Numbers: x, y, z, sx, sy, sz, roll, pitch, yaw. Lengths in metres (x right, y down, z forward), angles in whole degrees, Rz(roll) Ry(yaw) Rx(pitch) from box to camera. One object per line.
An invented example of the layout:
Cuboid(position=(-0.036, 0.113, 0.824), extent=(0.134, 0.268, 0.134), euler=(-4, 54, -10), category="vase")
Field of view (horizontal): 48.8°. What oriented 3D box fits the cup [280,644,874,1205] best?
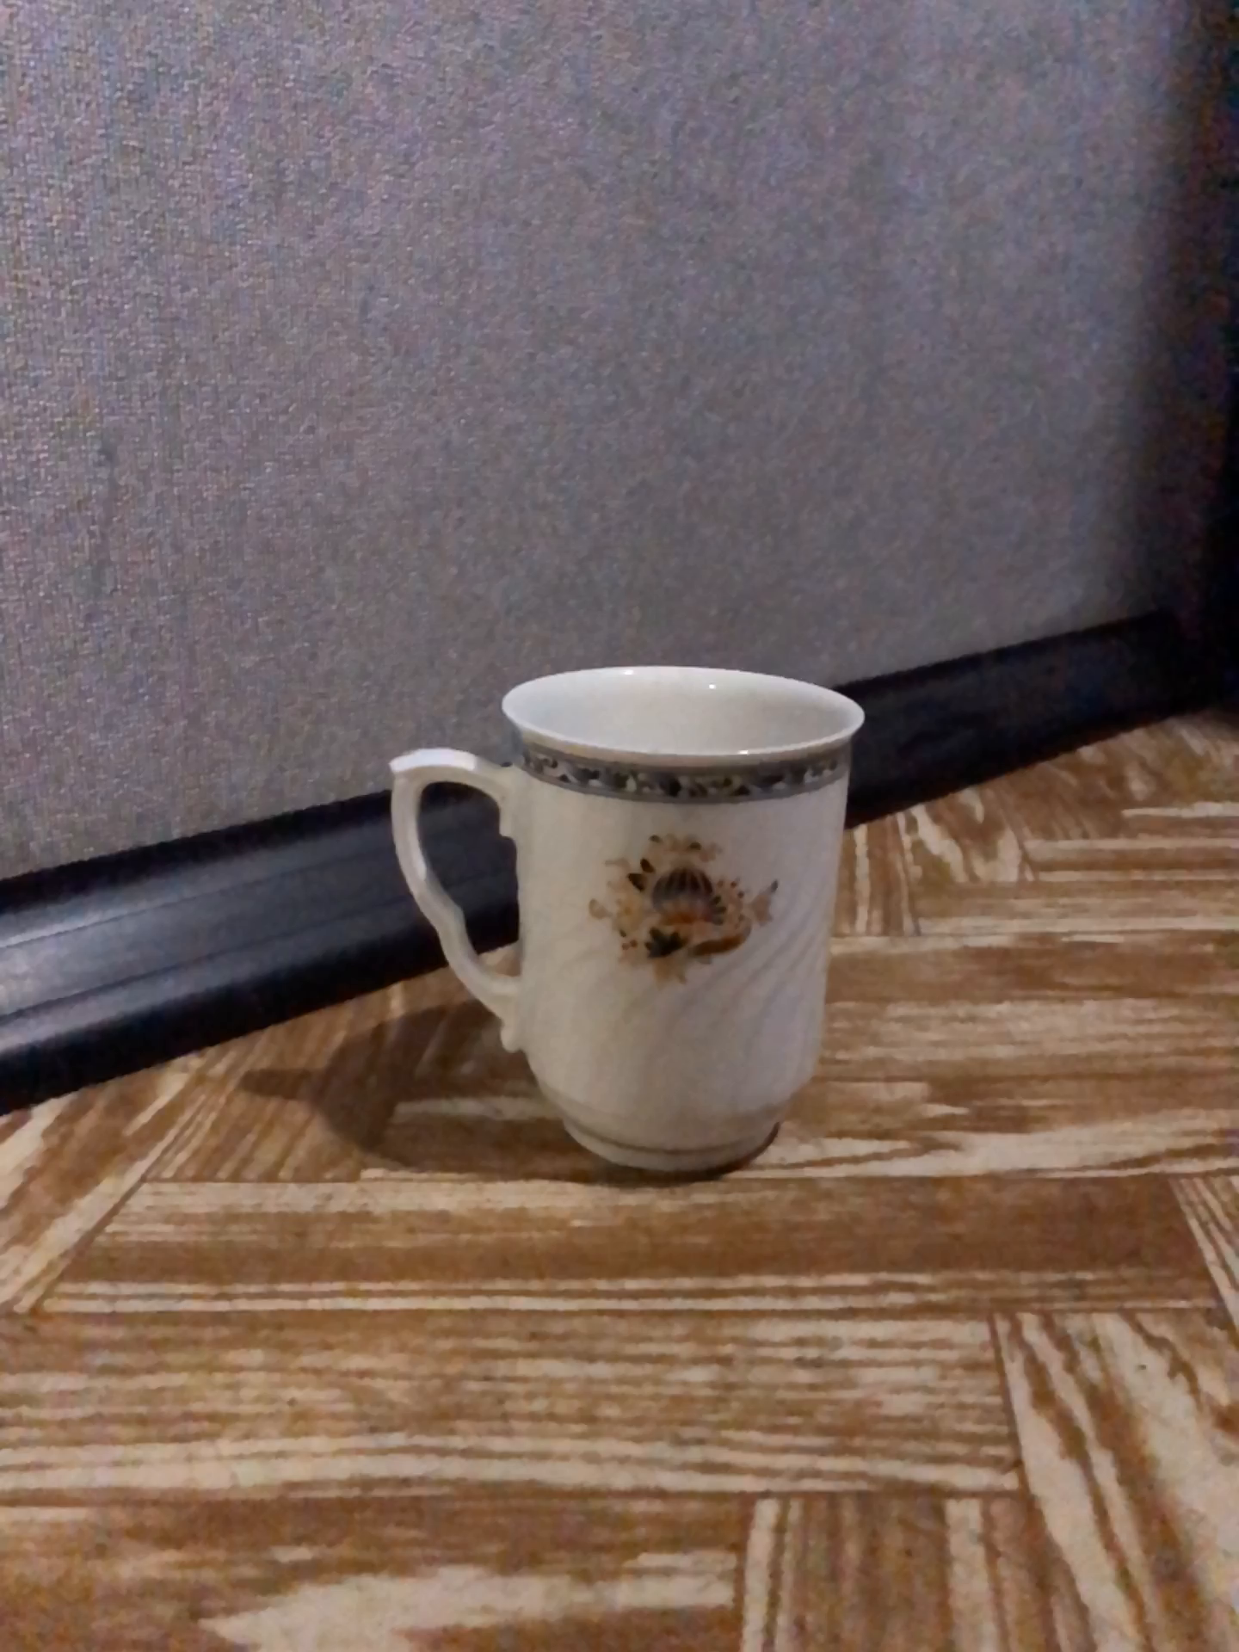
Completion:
Cuboid(position=(-0.006, 0.017, 0.327), extent=(0.118, 0.099, 0.078), euler=(6, 19, 14), category="cup")
